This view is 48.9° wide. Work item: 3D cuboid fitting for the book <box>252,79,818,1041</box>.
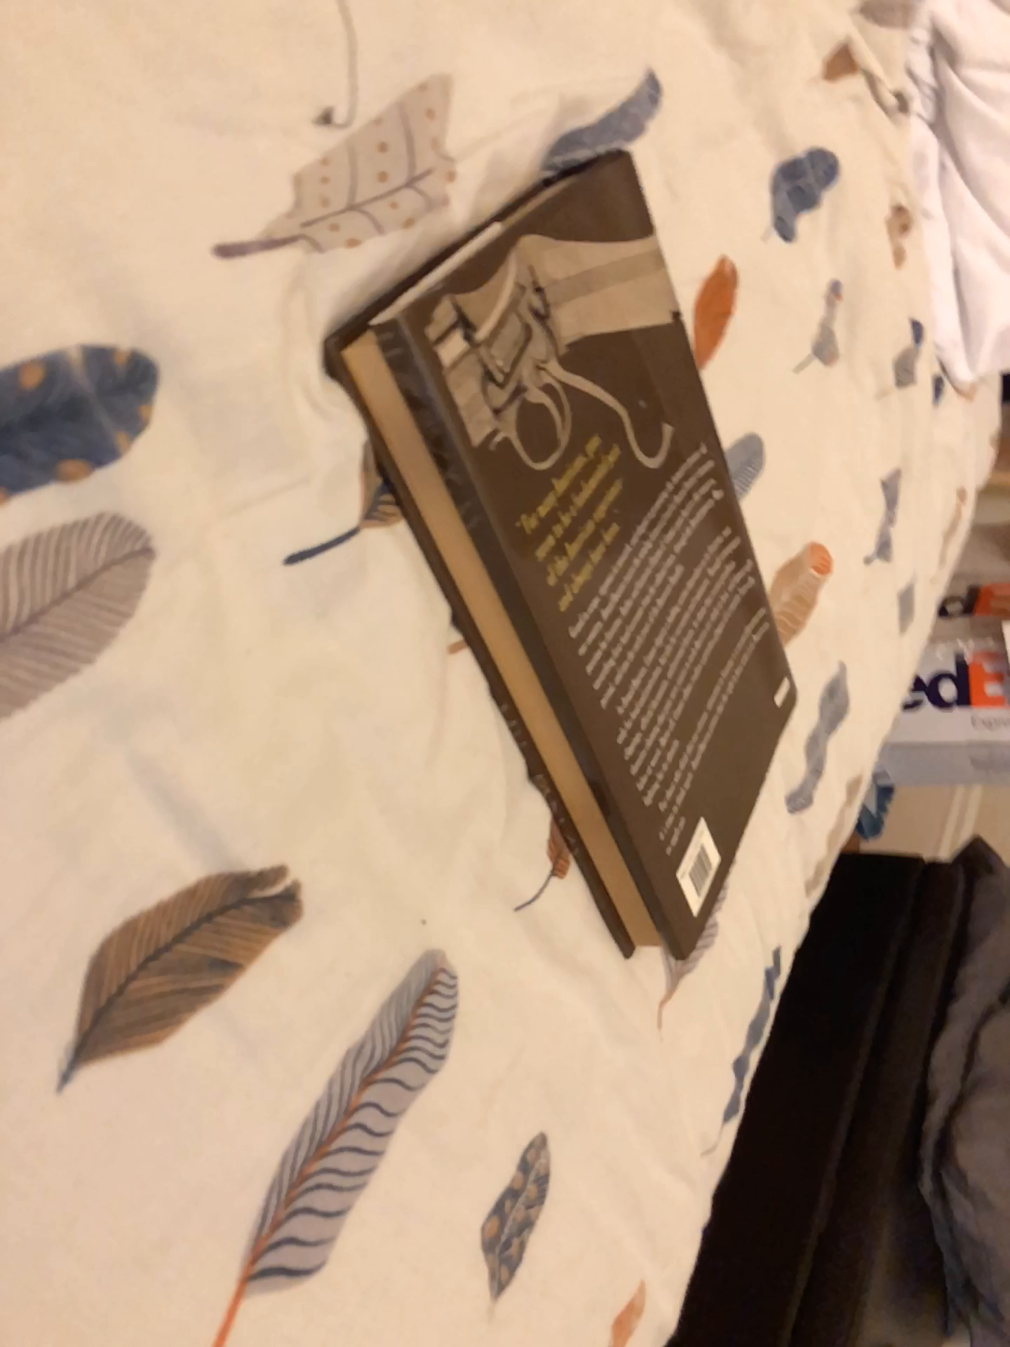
[{"bbox_3d":[0.038,-0.037,0.353,0.181,0.030,0.240,-54,131,-43],"label":"book"}]
